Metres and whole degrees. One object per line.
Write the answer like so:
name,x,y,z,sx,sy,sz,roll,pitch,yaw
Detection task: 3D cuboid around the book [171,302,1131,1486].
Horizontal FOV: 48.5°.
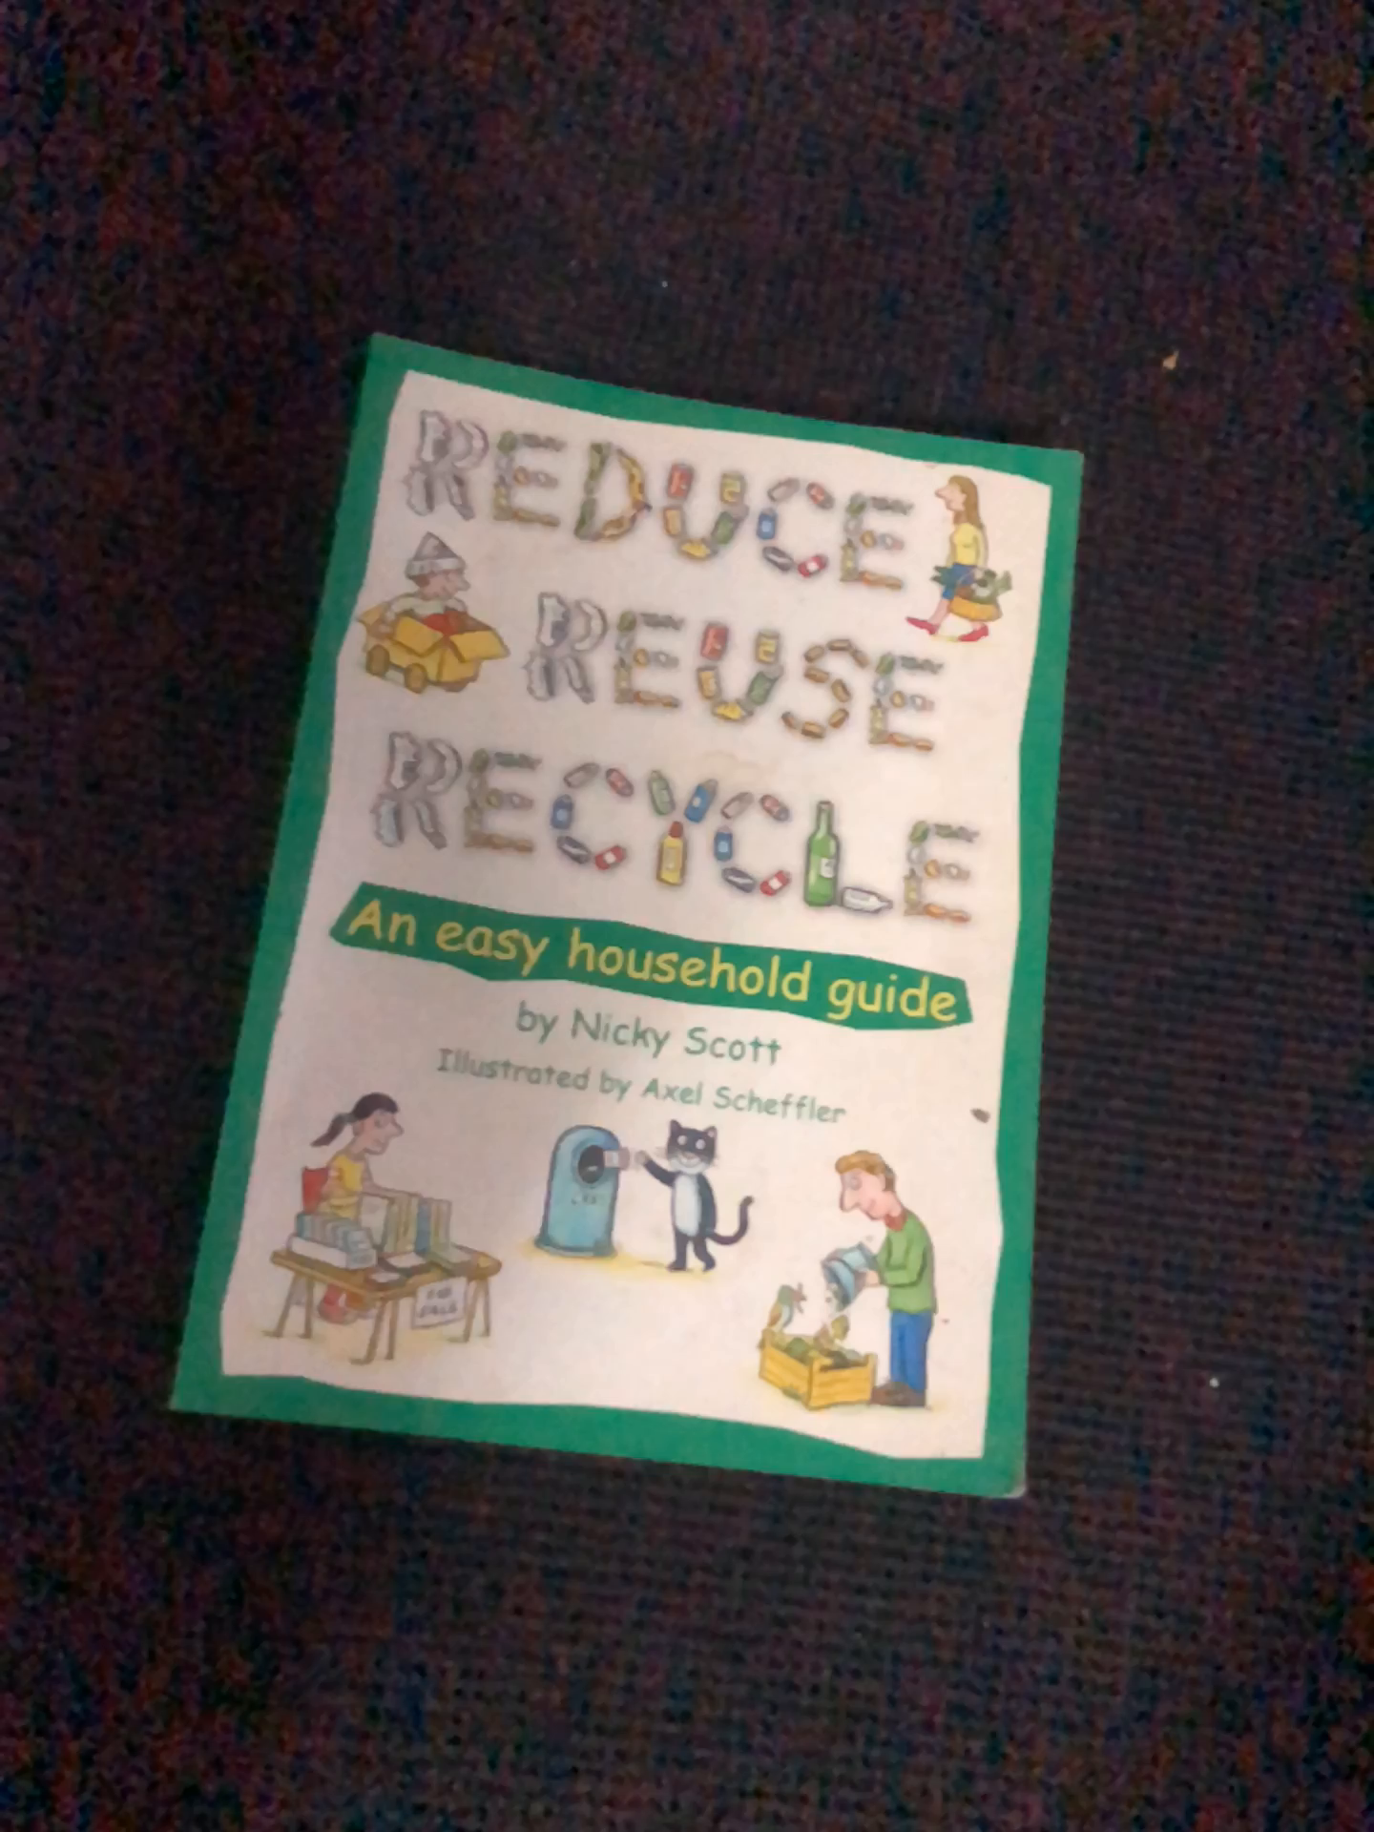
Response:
book,0.002,-0.007,0.246,0.130,0.018,0.173,8,76,-5
